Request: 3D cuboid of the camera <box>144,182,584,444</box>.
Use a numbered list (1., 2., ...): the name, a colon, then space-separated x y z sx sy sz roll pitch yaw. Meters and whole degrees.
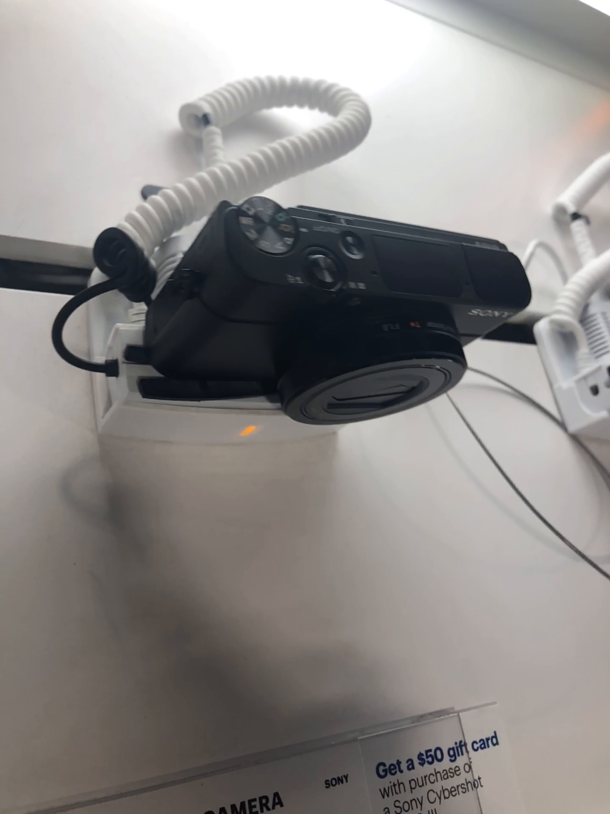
1. camera: 0.016 -0.021 0.187 0.102 0.051 0.041 -1 67 -31
